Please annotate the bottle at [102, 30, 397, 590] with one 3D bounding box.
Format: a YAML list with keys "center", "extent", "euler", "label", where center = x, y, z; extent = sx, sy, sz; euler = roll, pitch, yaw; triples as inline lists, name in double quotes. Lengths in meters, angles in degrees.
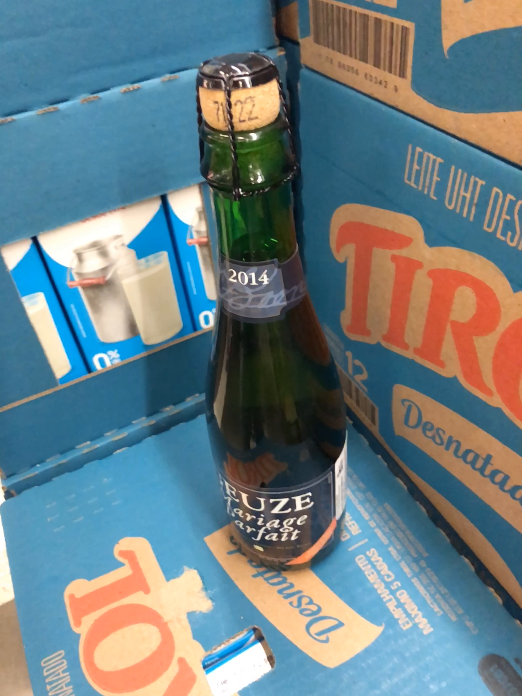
- center: [0.008, 0.010, 0.260]
  extent: [0.070, 0.258, 0.060]
  euler: [13, 46, 19]
  label: "bottle"
